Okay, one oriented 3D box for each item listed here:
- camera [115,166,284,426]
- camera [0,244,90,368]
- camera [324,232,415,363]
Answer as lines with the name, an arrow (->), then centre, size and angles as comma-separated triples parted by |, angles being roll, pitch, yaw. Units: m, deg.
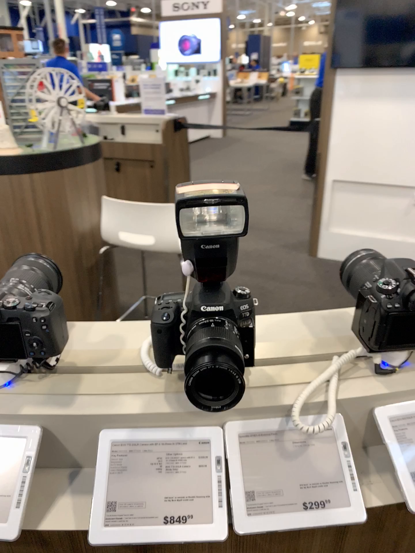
camera -> -0.006, 0.013, 0.484 | 0.140, 0.232, 0.177 | -1, 26, 0
camera -> -0.263, 0.035, 0.610 | 0.140, 0.103, 0.166 | -1, 26, 0
camera -> 0.259, 0.020, 0.583 | 0.140, 0.103, 0.166 | -3, 26, -3
